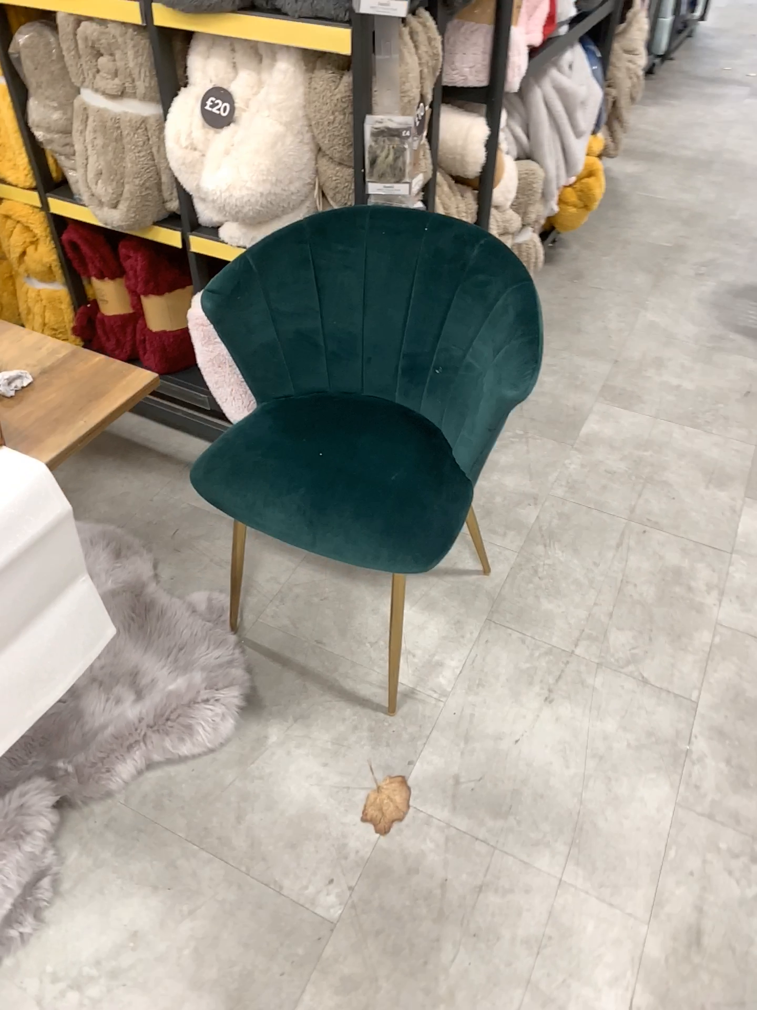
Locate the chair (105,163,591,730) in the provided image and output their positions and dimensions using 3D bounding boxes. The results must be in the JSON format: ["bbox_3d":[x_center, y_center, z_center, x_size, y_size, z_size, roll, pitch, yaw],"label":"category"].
[{"bbox_3d":[-0.024,-0.110,1.416,0.541,0.754,0.528,22,48,21],"label":"chair"}]
